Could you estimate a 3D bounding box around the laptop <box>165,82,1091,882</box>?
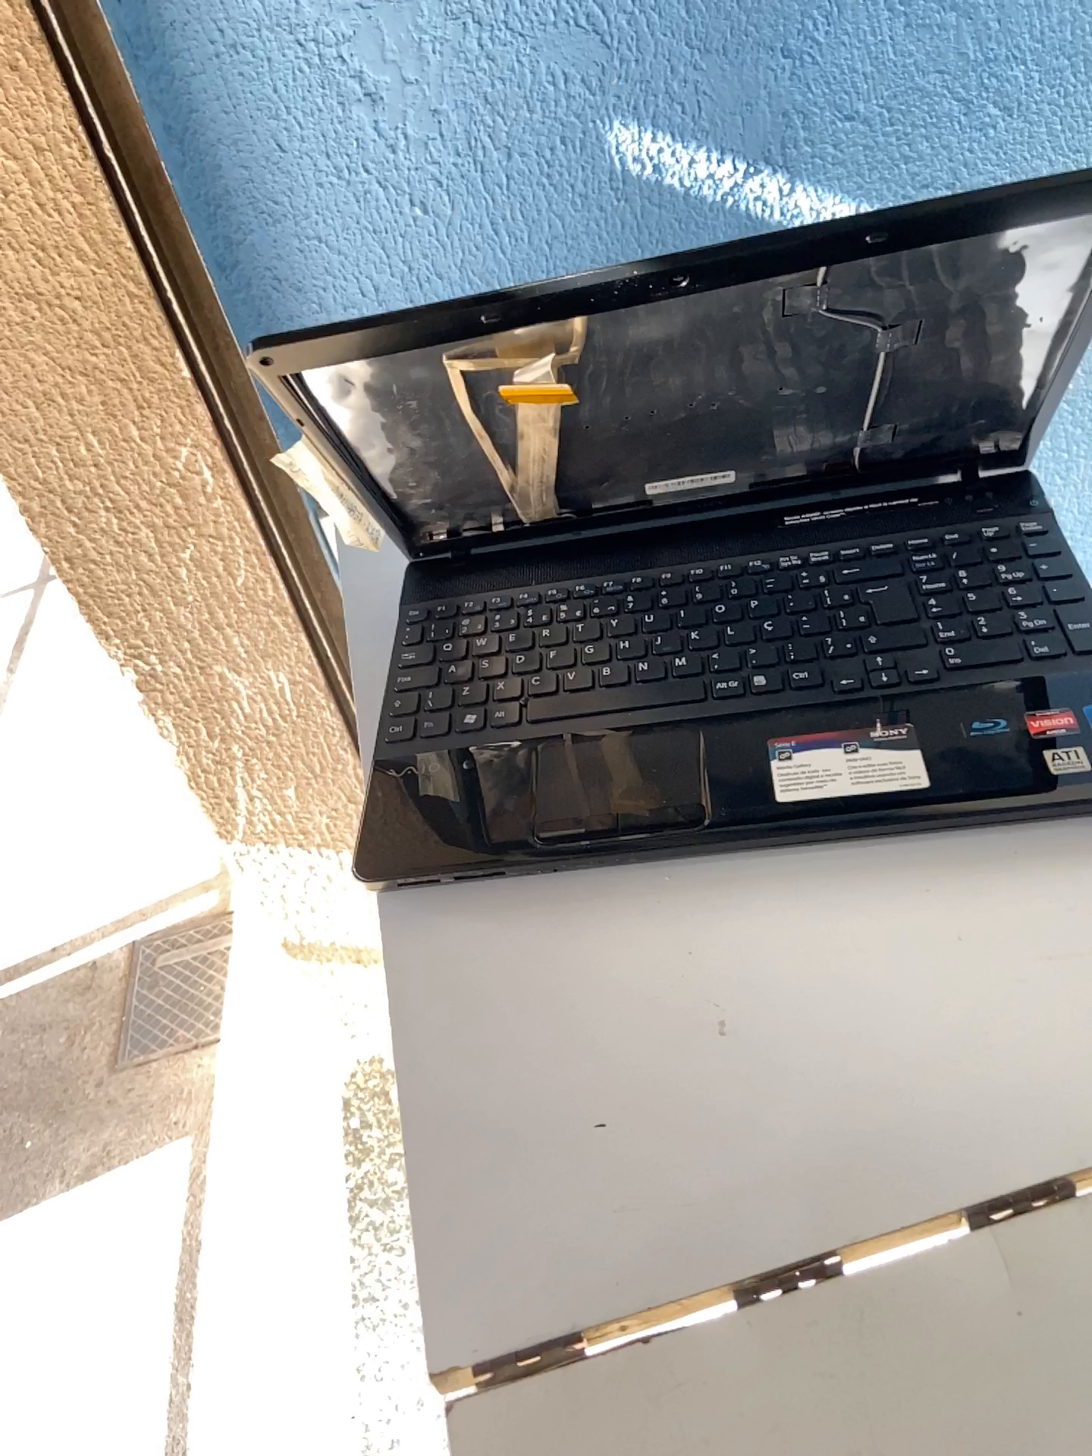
[{"bbox_3d":[0.069,-0.110,0.510,0.364,0.193,0.243,-8,42,10],"label":"laptop"}]
